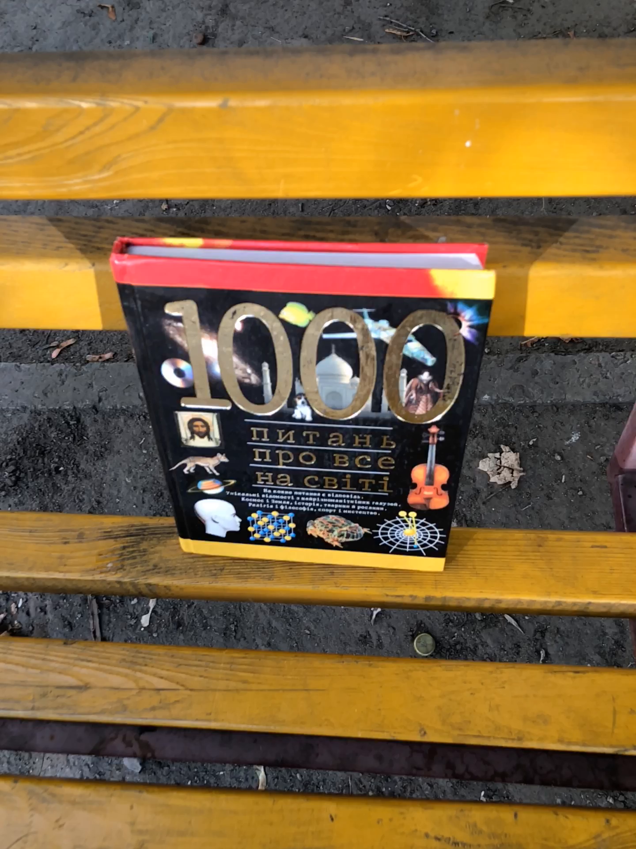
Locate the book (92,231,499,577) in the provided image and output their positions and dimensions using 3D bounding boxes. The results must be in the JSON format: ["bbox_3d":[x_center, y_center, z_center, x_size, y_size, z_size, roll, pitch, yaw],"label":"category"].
[{"bbox_3d":[-0.008,0.001,0.370,0.172,0.201,0.032,3,42,6],"label":"book"}]
